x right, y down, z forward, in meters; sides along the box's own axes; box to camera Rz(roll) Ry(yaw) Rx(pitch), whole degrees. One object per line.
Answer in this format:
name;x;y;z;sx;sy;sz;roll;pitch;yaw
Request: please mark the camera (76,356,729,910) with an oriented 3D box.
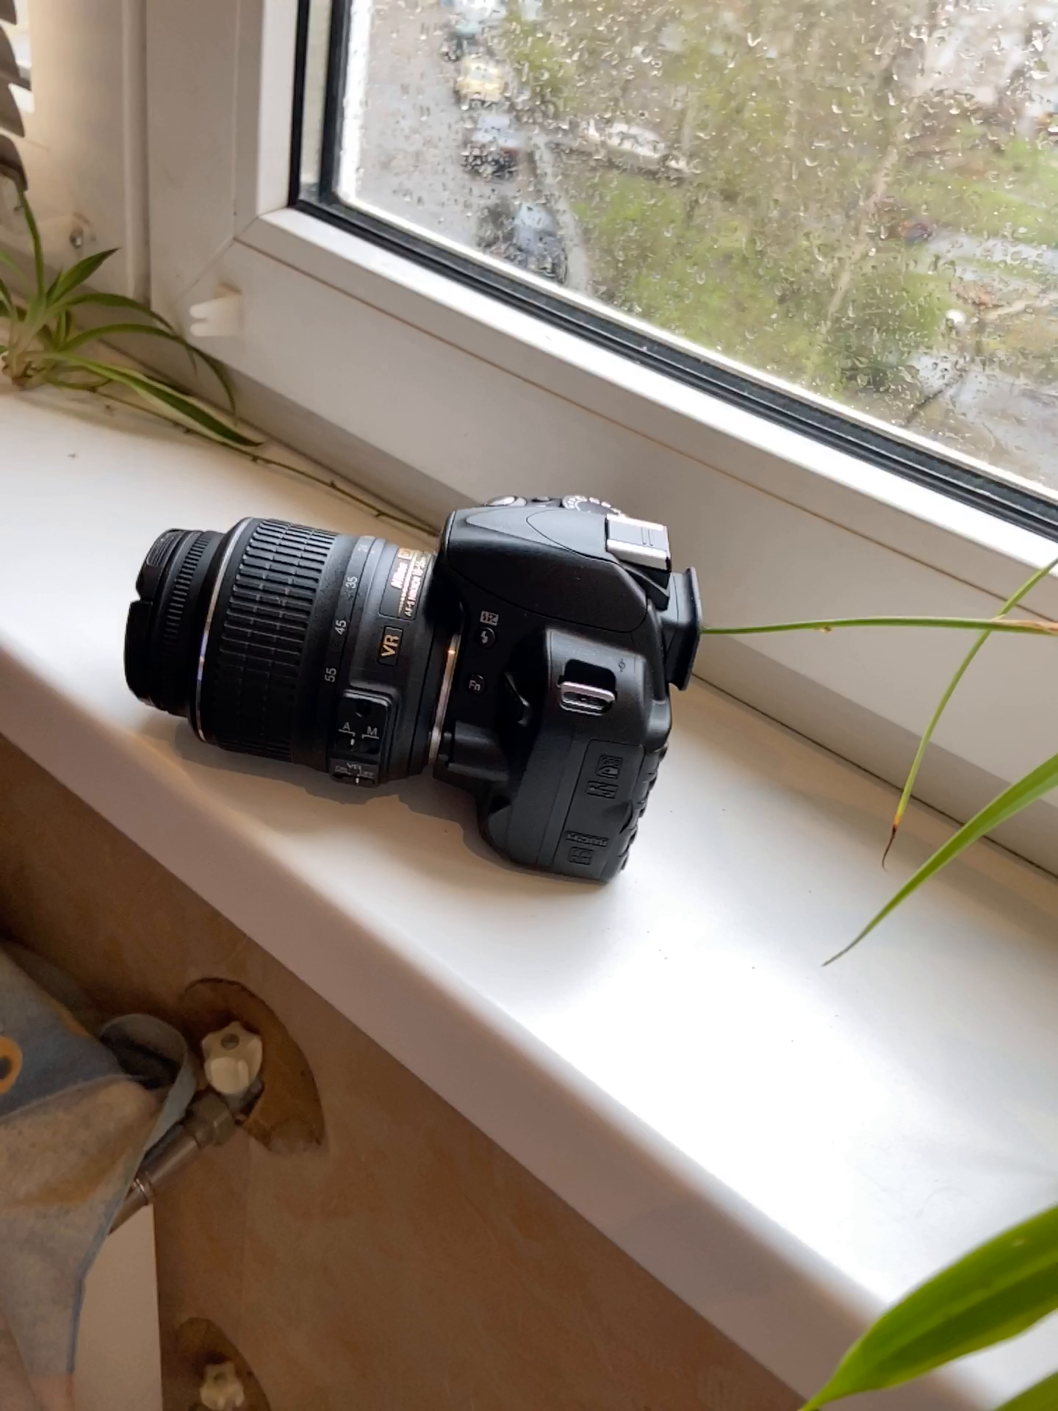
camera;-0.034;-0.027;0.337;0.159;0.091;0.122;11;36;-4
